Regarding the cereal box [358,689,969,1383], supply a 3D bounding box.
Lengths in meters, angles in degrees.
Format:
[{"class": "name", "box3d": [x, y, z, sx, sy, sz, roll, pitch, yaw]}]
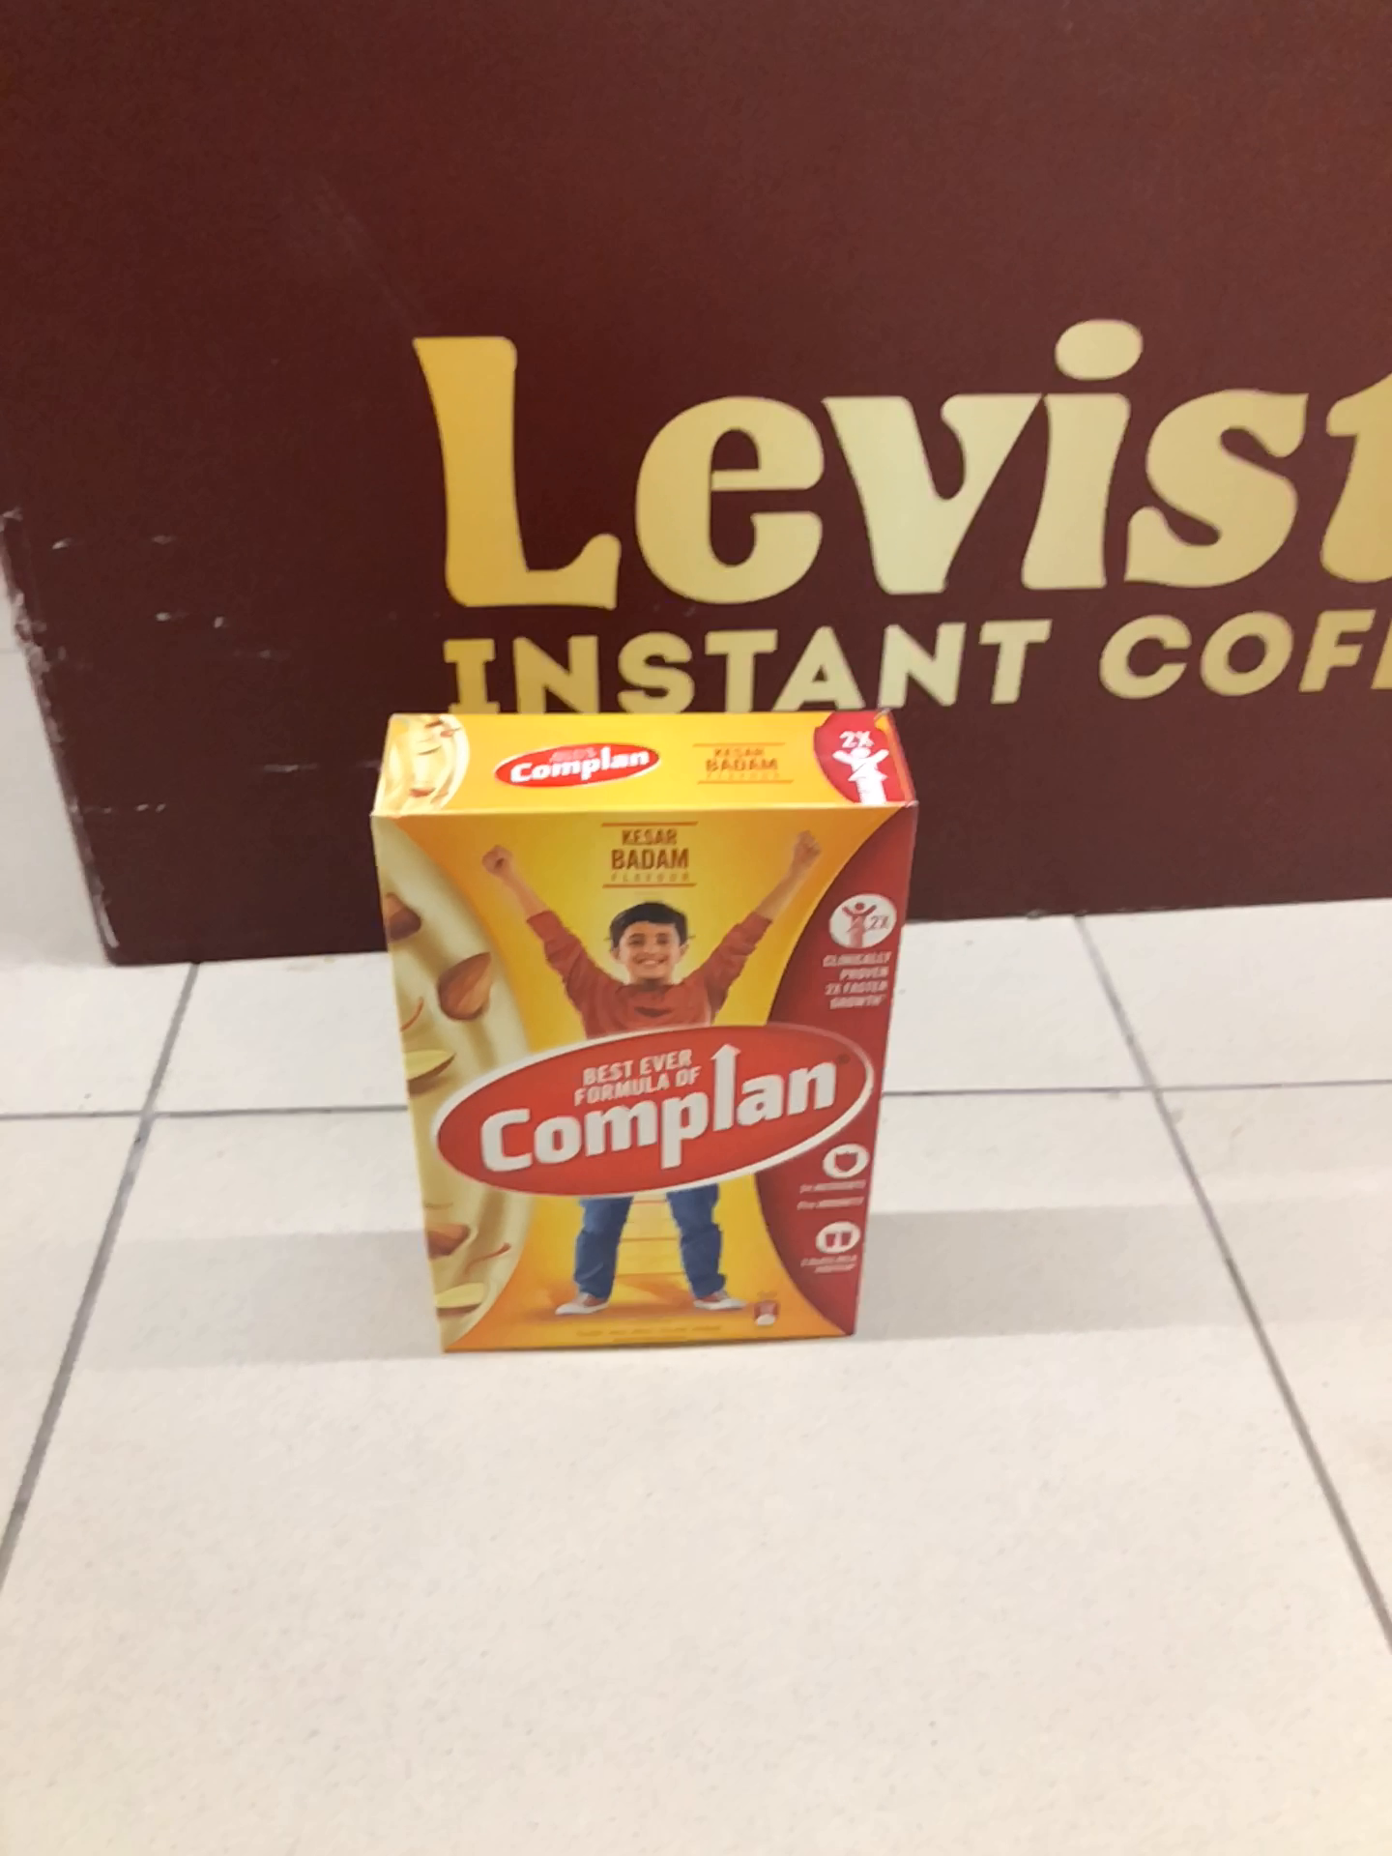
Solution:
[{"class": "cereal box", "box3d": [-0.009, 0.041, 0.467, 0.150, 0.218, 0.060, -2, 36, -3]}]
